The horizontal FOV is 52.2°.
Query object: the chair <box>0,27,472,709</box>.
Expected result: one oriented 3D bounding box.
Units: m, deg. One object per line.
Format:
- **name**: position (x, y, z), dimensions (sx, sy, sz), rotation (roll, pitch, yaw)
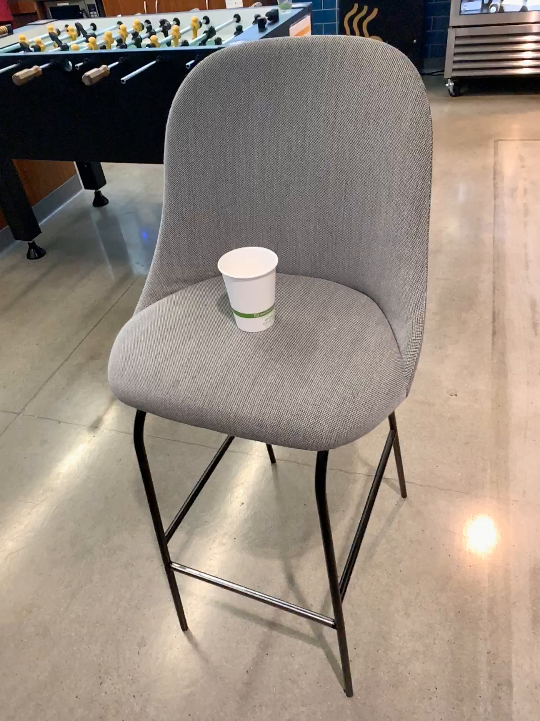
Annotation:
- **chair**: position (0.021, 0.057, 1.023), dimensions (0.471, 1.053, 0.572), rotation (11, 43, 21)
